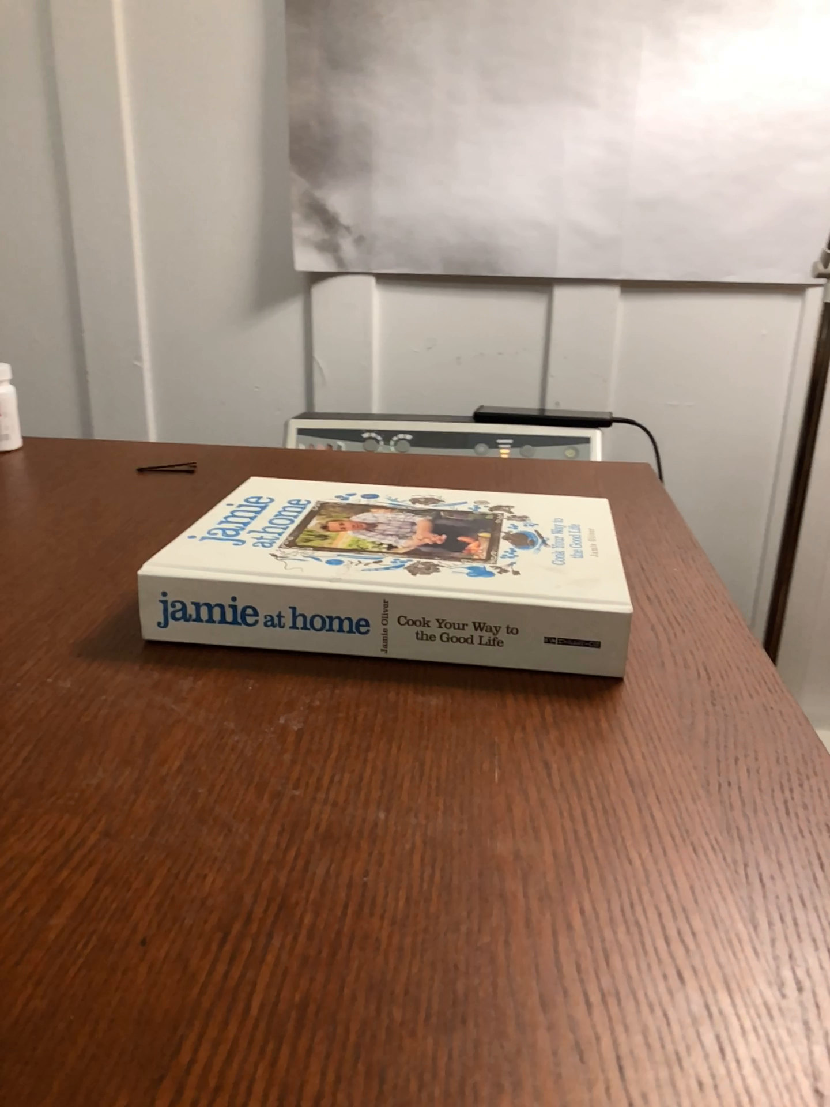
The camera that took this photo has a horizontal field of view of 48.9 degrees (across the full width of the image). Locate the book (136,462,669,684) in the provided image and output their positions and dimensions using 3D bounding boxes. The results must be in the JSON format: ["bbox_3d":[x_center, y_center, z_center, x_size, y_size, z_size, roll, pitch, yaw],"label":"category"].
[{"bbox_3d":[0.002,-0.001,0.546,0.260,0.040,0.211,4,21,6],"label":"book"}]
